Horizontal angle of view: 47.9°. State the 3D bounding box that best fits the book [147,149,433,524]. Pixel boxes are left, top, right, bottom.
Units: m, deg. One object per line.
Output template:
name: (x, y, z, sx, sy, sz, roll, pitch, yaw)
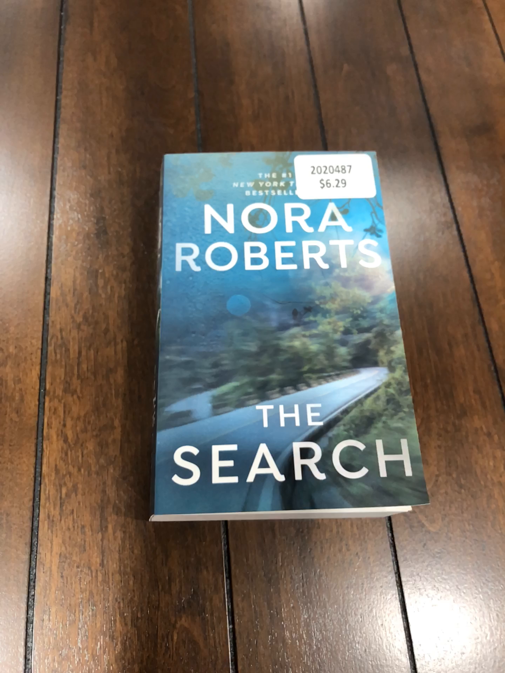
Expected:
book: (0.012, -0.004, 0.269, 0.108, 0.050, 0.170, -1, 67, -3)
